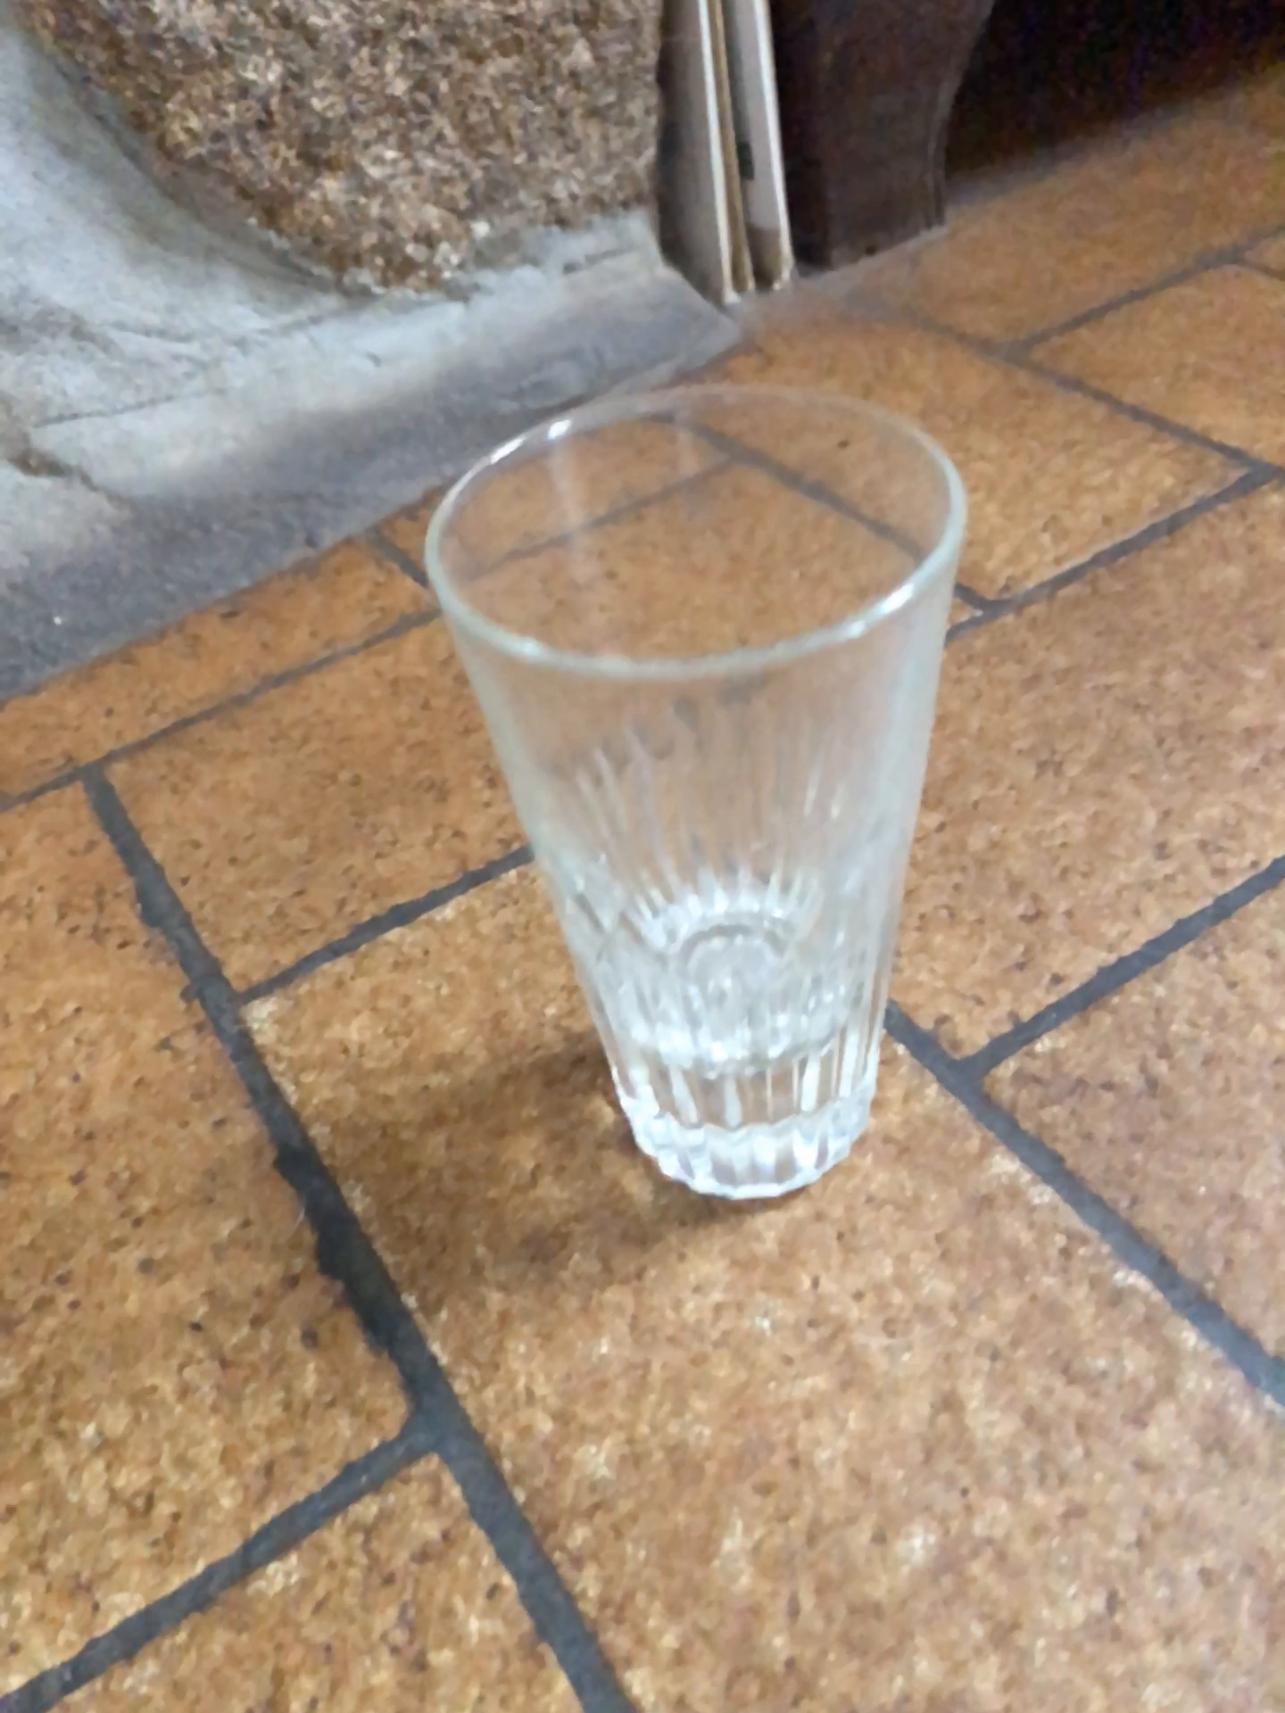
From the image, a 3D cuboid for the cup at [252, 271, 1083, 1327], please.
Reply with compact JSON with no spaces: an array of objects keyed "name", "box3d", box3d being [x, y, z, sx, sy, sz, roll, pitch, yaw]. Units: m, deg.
[{"name":"cup","box3d":[0.009,-0.007,0.210,0.070,0.119,0.070,-5,43,5]}]
